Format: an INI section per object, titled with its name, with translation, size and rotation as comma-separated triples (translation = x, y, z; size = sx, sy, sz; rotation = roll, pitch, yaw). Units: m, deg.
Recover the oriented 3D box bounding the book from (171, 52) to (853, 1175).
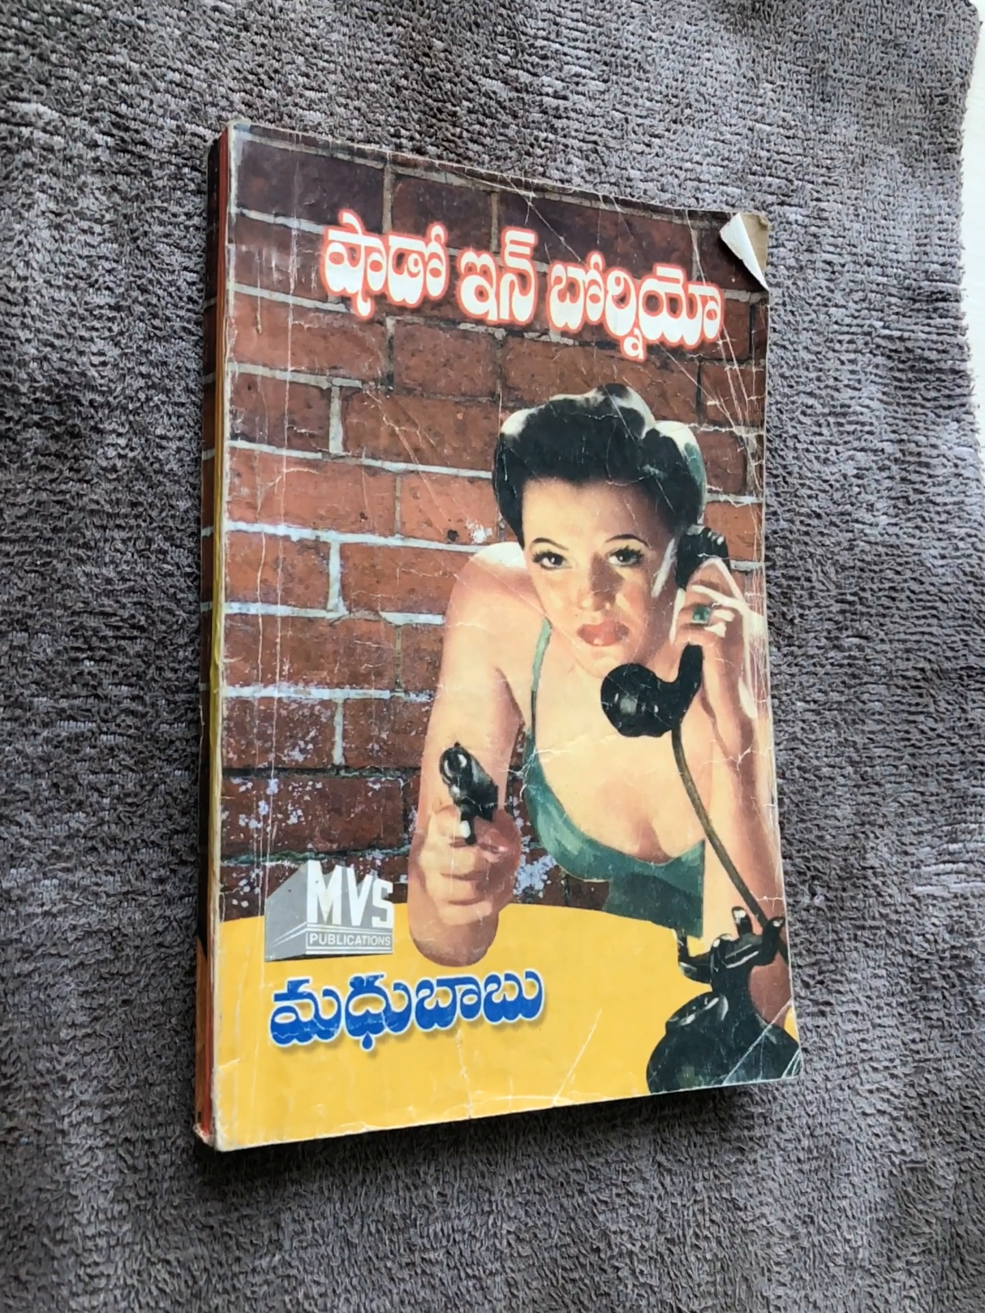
[book]
translation = 0.003, -0.006, 0.184
size = 0.100, 0.040, 0.150
rotation = 3, 82, -23
